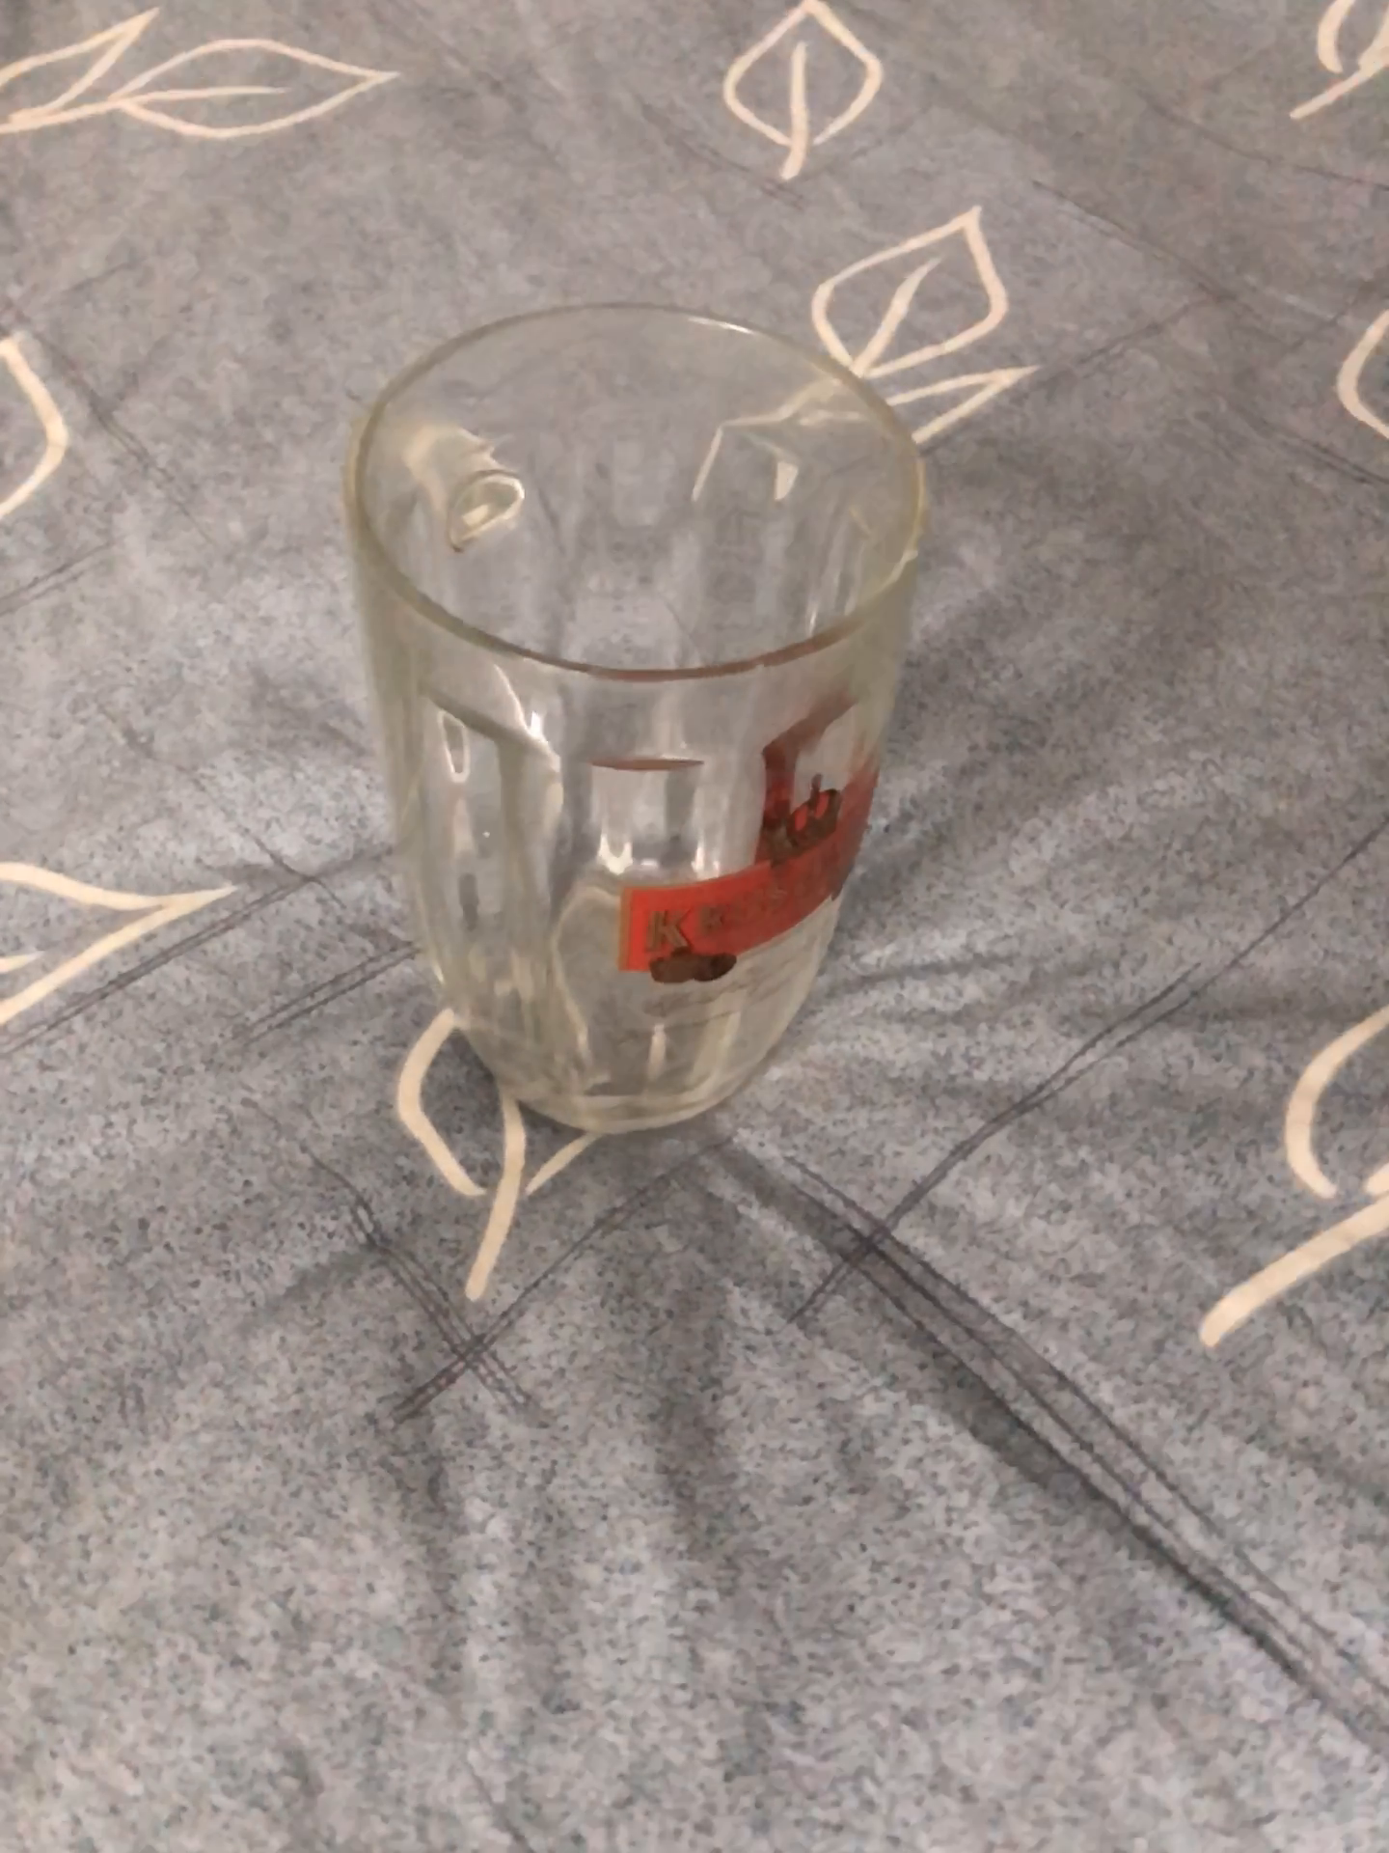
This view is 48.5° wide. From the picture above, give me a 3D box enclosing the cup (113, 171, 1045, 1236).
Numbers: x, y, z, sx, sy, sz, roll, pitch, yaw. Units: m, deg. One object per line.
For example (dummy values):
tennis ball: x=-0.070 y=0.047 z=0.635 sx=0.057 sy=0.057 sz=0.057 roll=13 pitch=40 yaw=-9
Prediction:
cup: x=-0.021 y=-0.041 z=0.302 sx=0.091 sy=0.136 sz=0.128 roll=-35 pitch=59 yaw=-22
